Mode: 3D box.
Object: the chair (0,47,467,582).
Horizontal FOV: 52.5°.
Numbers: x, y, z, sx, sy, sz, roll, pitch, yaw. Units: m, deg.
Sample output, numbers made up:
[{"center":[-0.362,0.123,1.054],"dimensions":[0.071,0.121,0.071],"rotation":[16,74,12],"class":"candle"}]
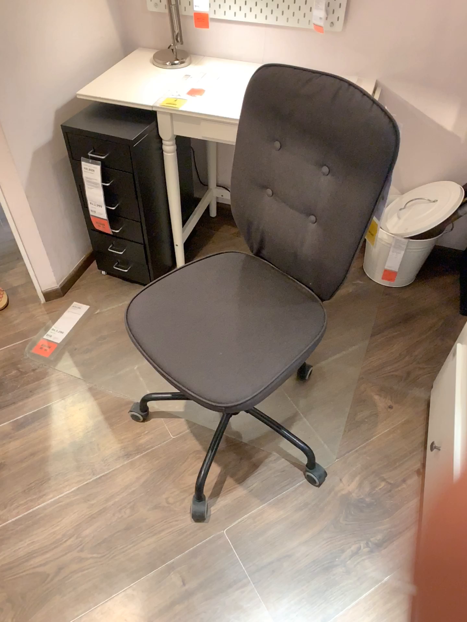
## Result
[{"center":[0.039,0.011,1.205],"dimensions":[0.651,0.946,0.731],"rotation":[34,55,27],"class":"chair"}]
